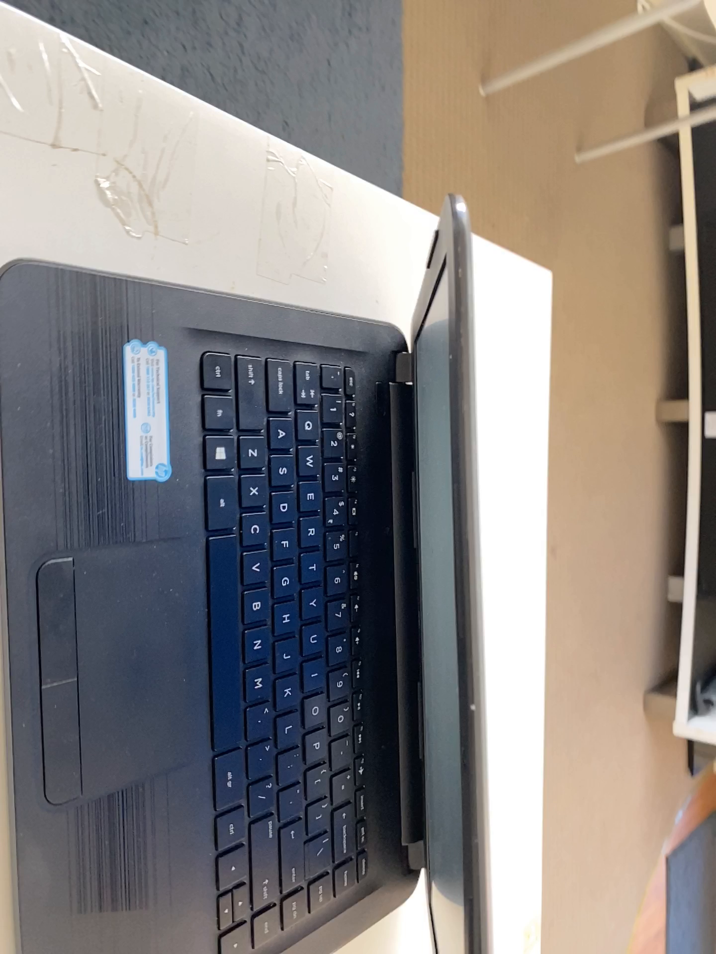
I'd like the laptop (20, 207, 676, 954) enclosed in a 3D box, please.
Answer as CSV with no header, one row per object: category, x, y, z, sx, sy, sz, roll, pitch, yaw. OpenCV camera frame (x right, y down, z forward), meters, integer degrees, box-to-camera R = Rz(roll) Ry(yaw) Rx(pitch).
laptop,0.009,0.098,0.310,0.227,0.154,0.335,-2,91,-47
